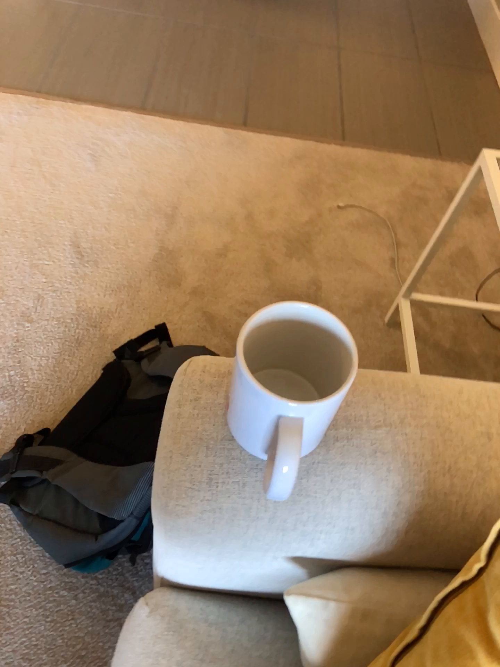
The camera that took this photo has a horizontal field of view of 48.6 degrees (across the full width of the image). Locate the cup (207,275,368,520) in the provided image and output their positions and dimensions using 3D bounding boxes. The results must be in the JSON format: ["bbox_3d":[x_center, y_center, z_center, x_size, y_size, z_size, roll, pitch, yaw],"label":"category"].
[{"bbox_3d":[0.025,0.045,0.377,0.080,0.100,0.120,11,55,-2],"label":"cup"}]
